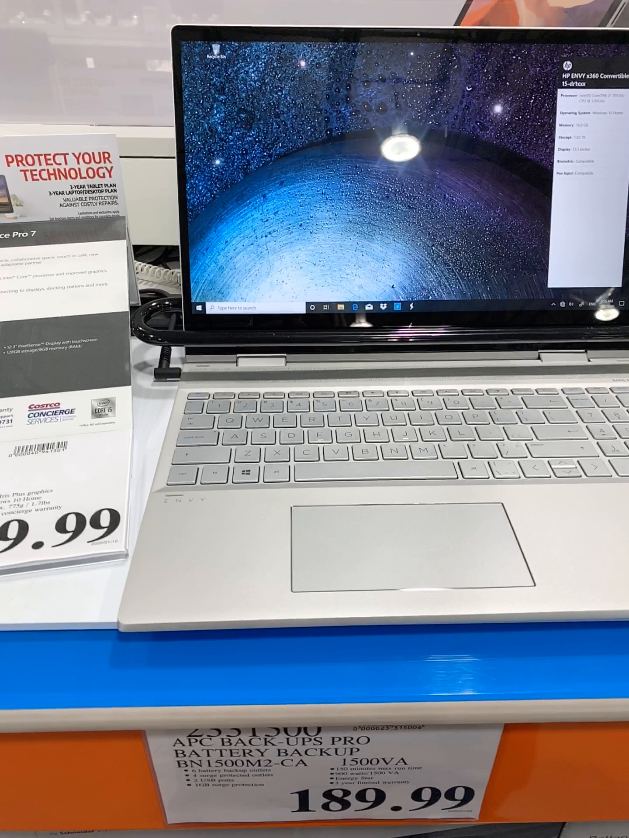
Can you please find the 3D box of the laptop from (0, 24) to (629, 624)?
[{"bbox_3d":[0.074,-0.094,0.375,0.346,0.209,0.341,-1,35,-2],"label":"laptop"}]
